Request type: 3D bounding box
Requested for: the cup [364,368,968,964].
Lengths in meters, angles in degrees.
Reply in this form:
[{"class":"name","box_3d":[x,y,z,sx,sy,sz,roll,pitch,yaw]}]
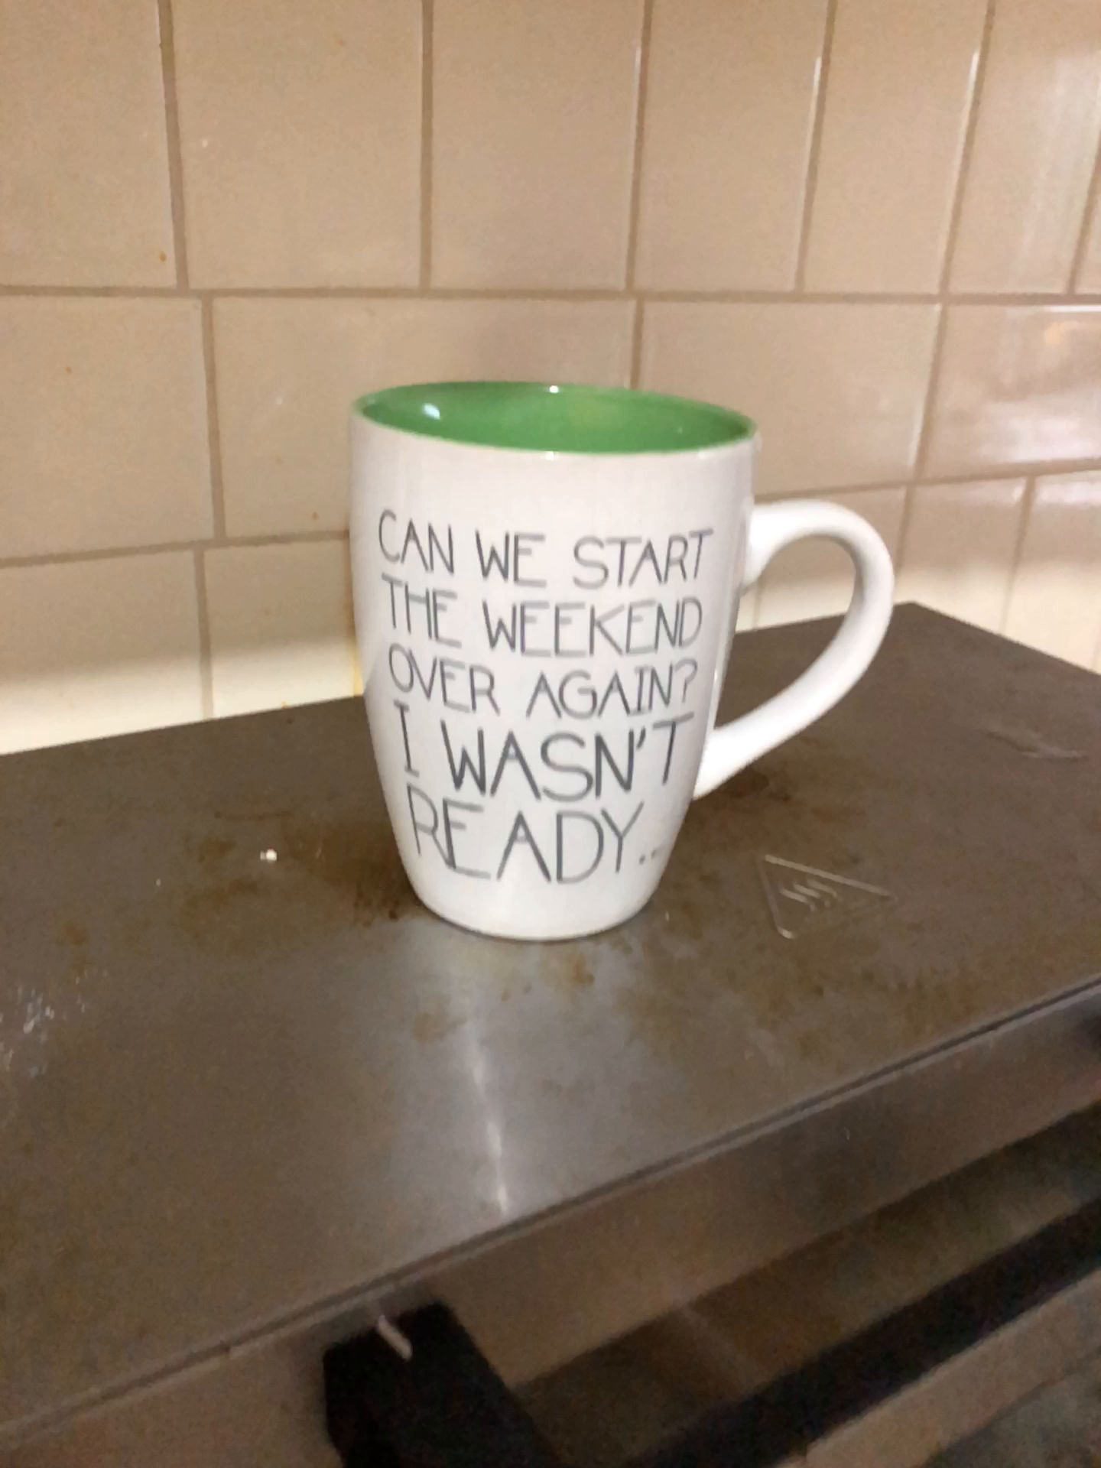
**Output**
[{"class":"cup","box_3d":[0.015,-0.018,0.271,0.110,0.109,0.070,-1,23,-8]}]
